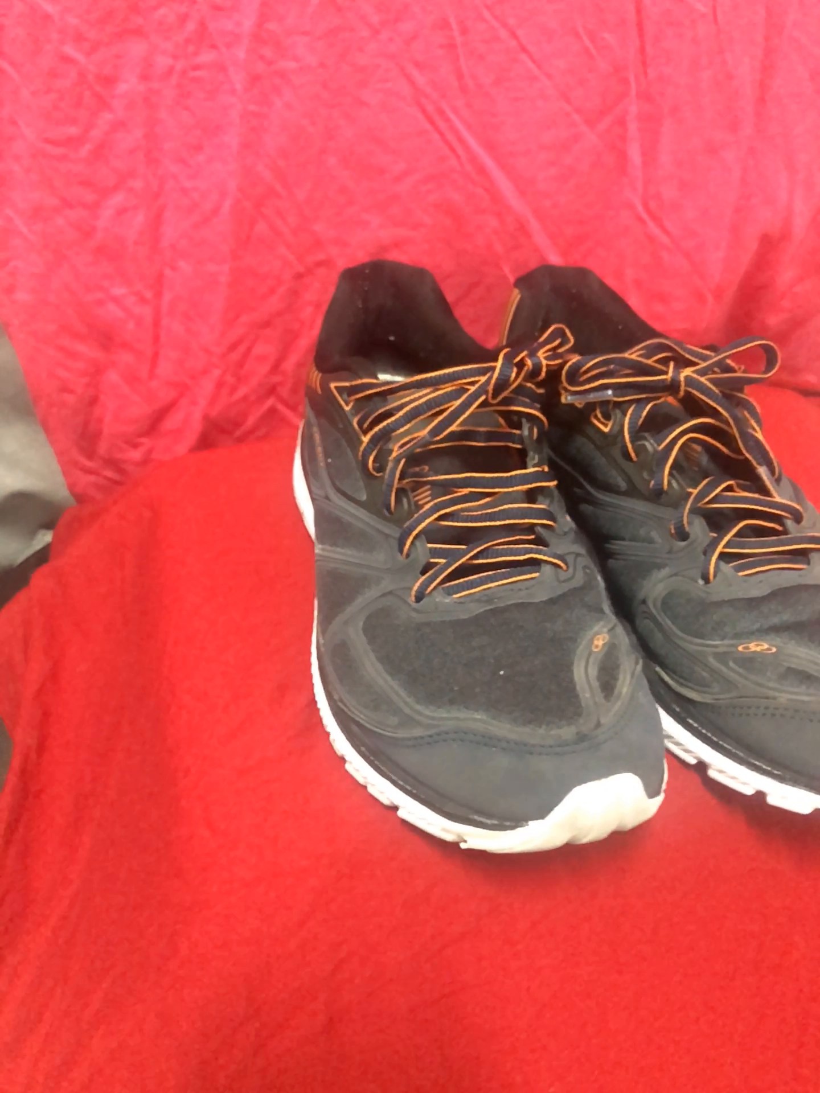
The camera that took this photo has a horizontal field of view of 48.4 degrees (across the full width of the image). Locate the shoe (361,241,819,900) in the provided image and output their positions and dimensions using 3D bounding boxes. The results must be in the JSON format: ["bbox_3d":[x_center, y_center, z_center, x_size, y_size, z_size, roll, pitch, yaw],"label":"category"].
[{"bbox_3d":[0.078,-0.023,0.371,0.110,0.099,0.282,-13,39,-16],"label":"shoe"}]

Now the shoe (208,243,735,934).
[{"bbox_3d":[-0.007,-0.019,0.346,0.110,0.089,0.282,-8,38,-10],"label":"shoe"}]
